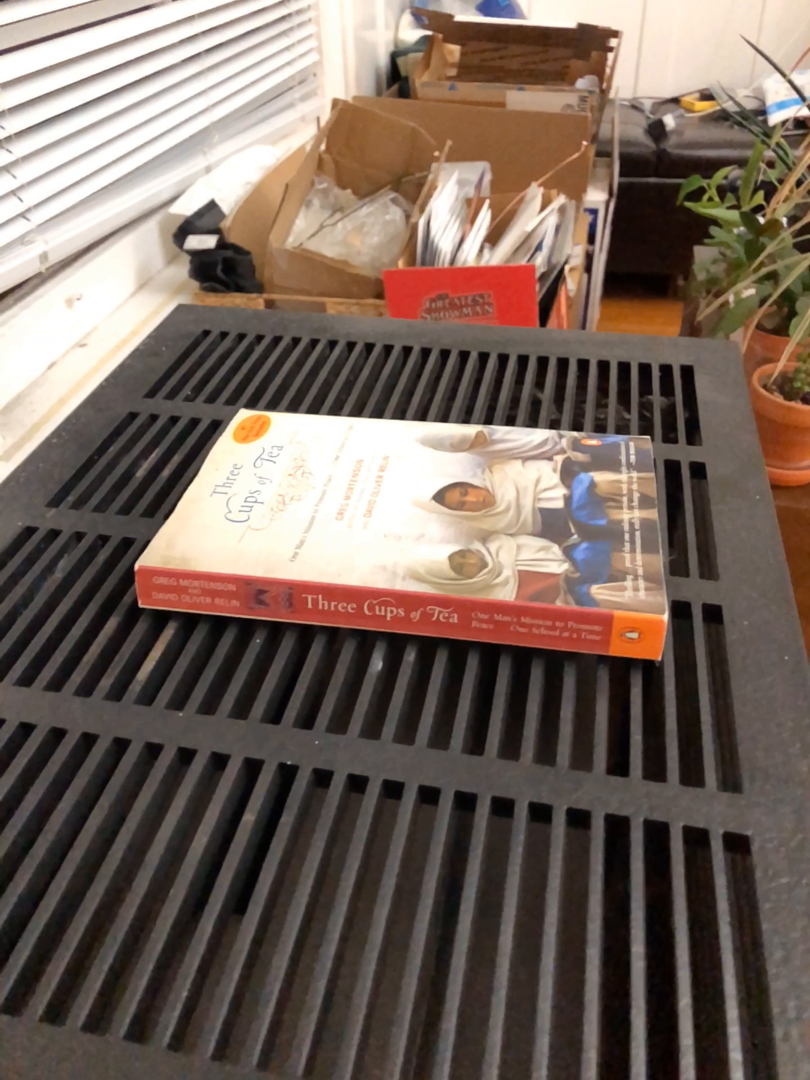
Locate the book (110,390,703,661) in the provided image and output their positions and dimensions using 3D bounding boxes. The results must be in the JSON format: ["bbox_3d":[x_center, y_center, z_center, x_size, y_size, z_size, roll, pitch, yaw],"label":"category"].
[{"bbox_3d":[0.006,-0.016,0.394,0.220,0.030,0.141,4,37,7],"label":"book"}]
